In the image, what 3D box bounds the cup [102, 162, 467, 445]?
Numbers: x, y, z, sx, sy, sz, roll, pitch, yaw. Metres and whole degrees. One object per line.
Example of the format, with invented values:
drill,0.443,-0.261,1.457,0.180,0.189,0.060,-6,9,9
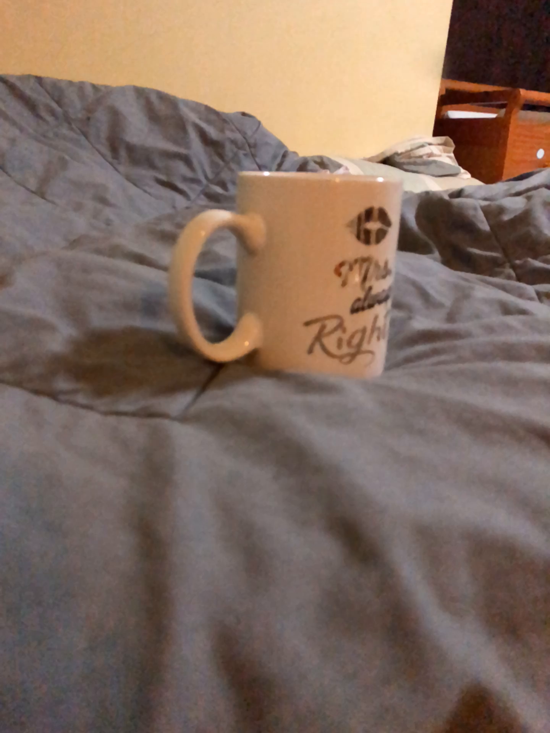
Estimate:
cup,0.003,-0.047,0.324,0.150,0.110,0.110,-12,25,-36
